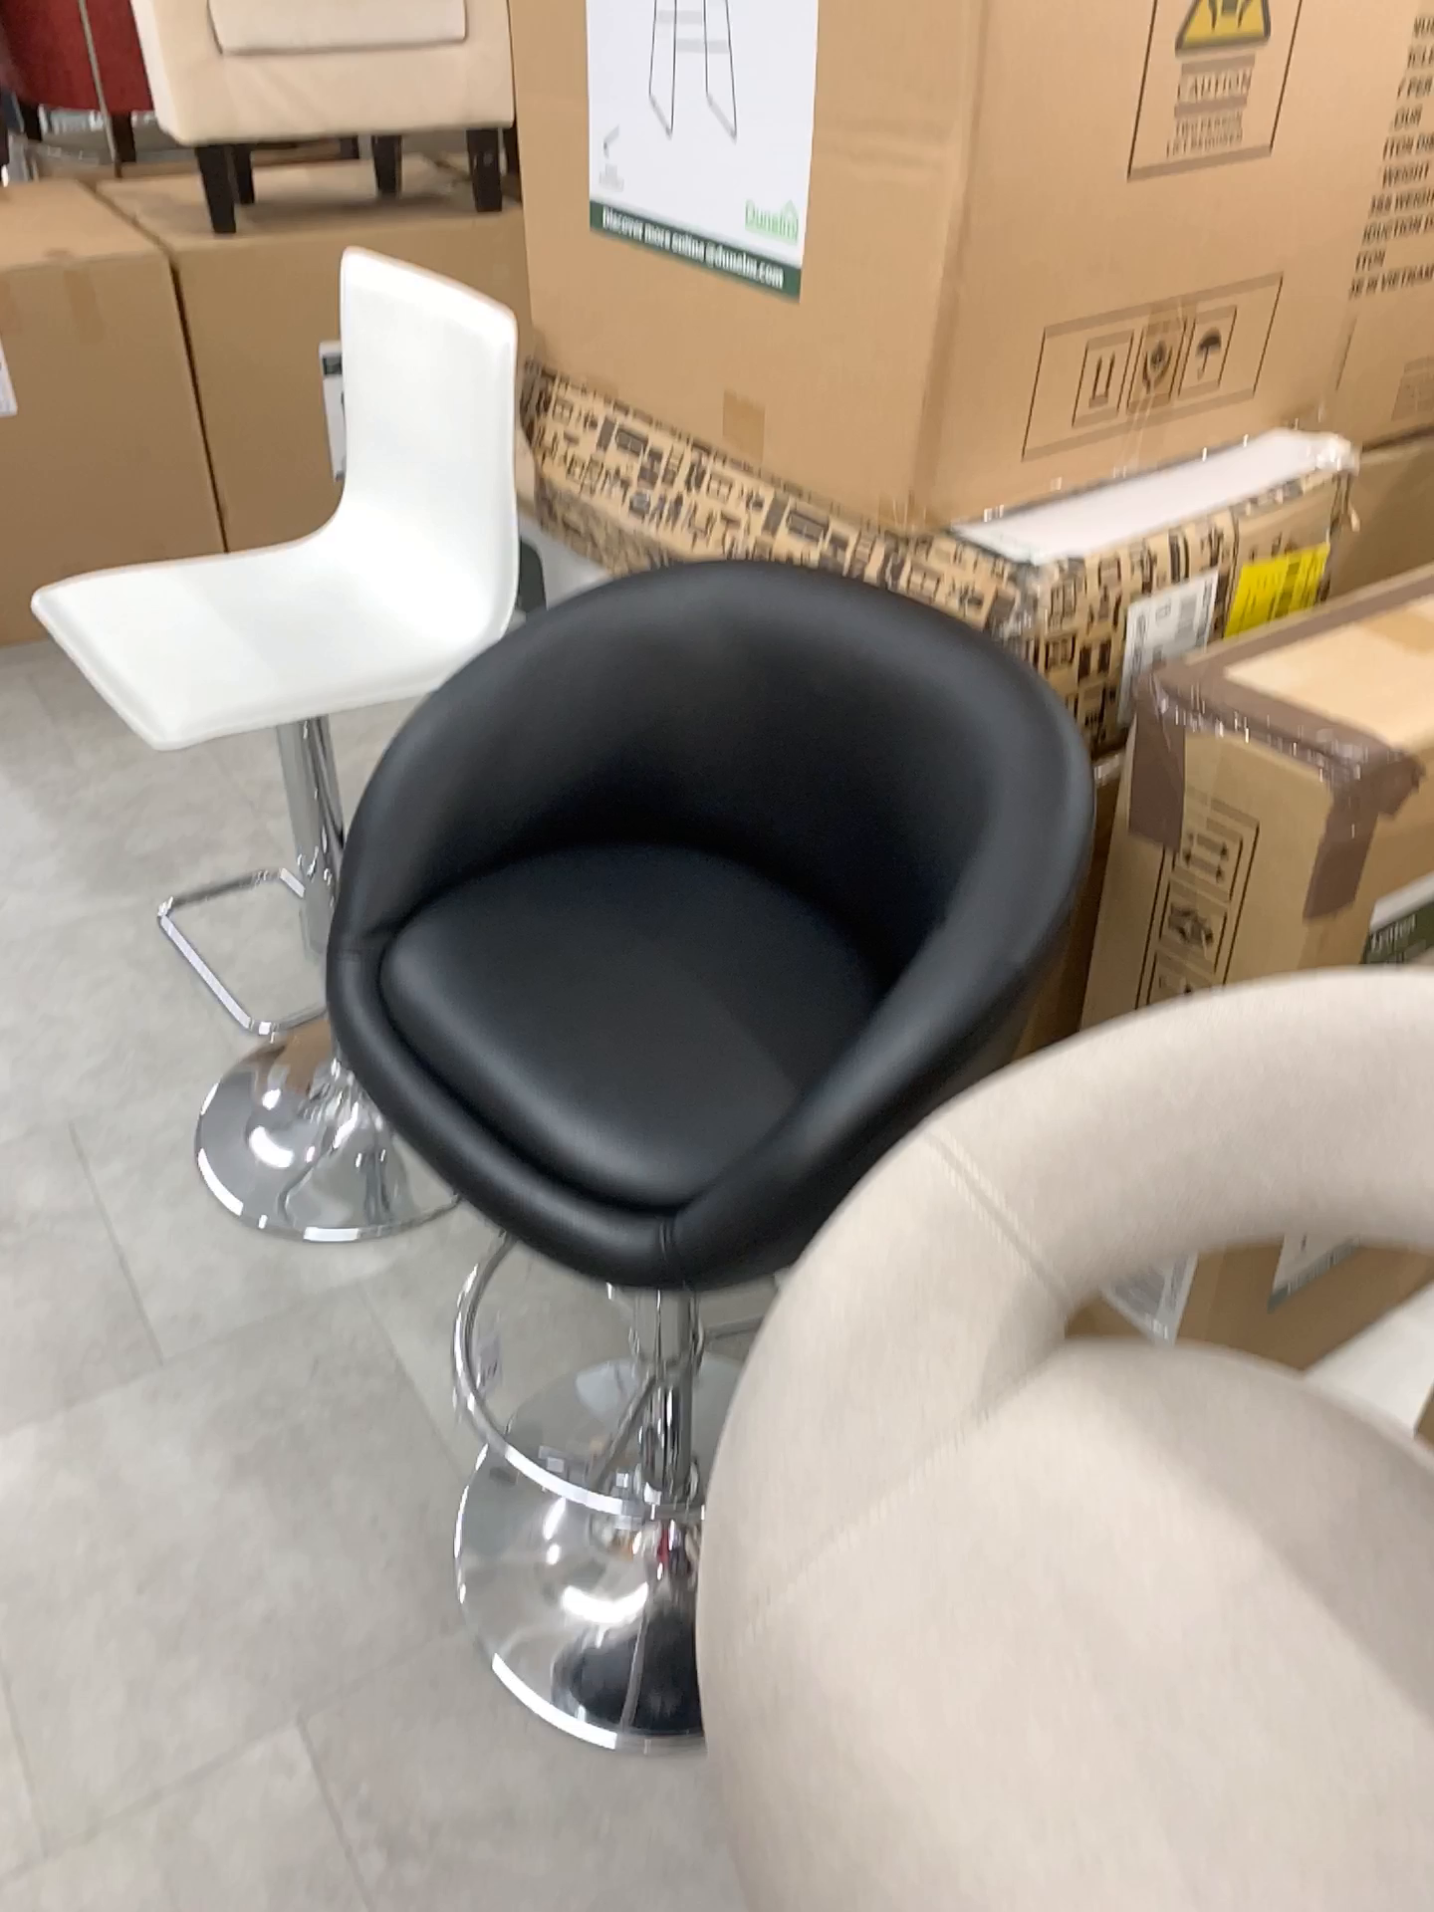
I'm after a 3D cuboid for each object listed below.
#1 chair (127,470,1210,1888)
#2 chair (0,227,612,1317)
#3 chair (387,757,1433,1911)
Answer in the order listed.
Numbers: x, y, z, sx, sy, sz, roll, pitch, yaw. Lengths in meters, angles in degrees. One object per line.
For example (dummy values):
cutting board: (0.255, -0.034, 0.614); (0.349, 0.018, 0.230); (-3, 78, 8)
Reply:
chair: (-0.053, 0.173, 1.117); (0.441, 0.868, 0.477); (-24, 44, -29)
chair: (-0.429, -0.179, 1.535); (0.442, 0.947, 0.447); (-26, 45, -31)
chair: (0.187, 0.457, 0.744); (0.432, 0.918, 0.447); (-26, 45, -31)
